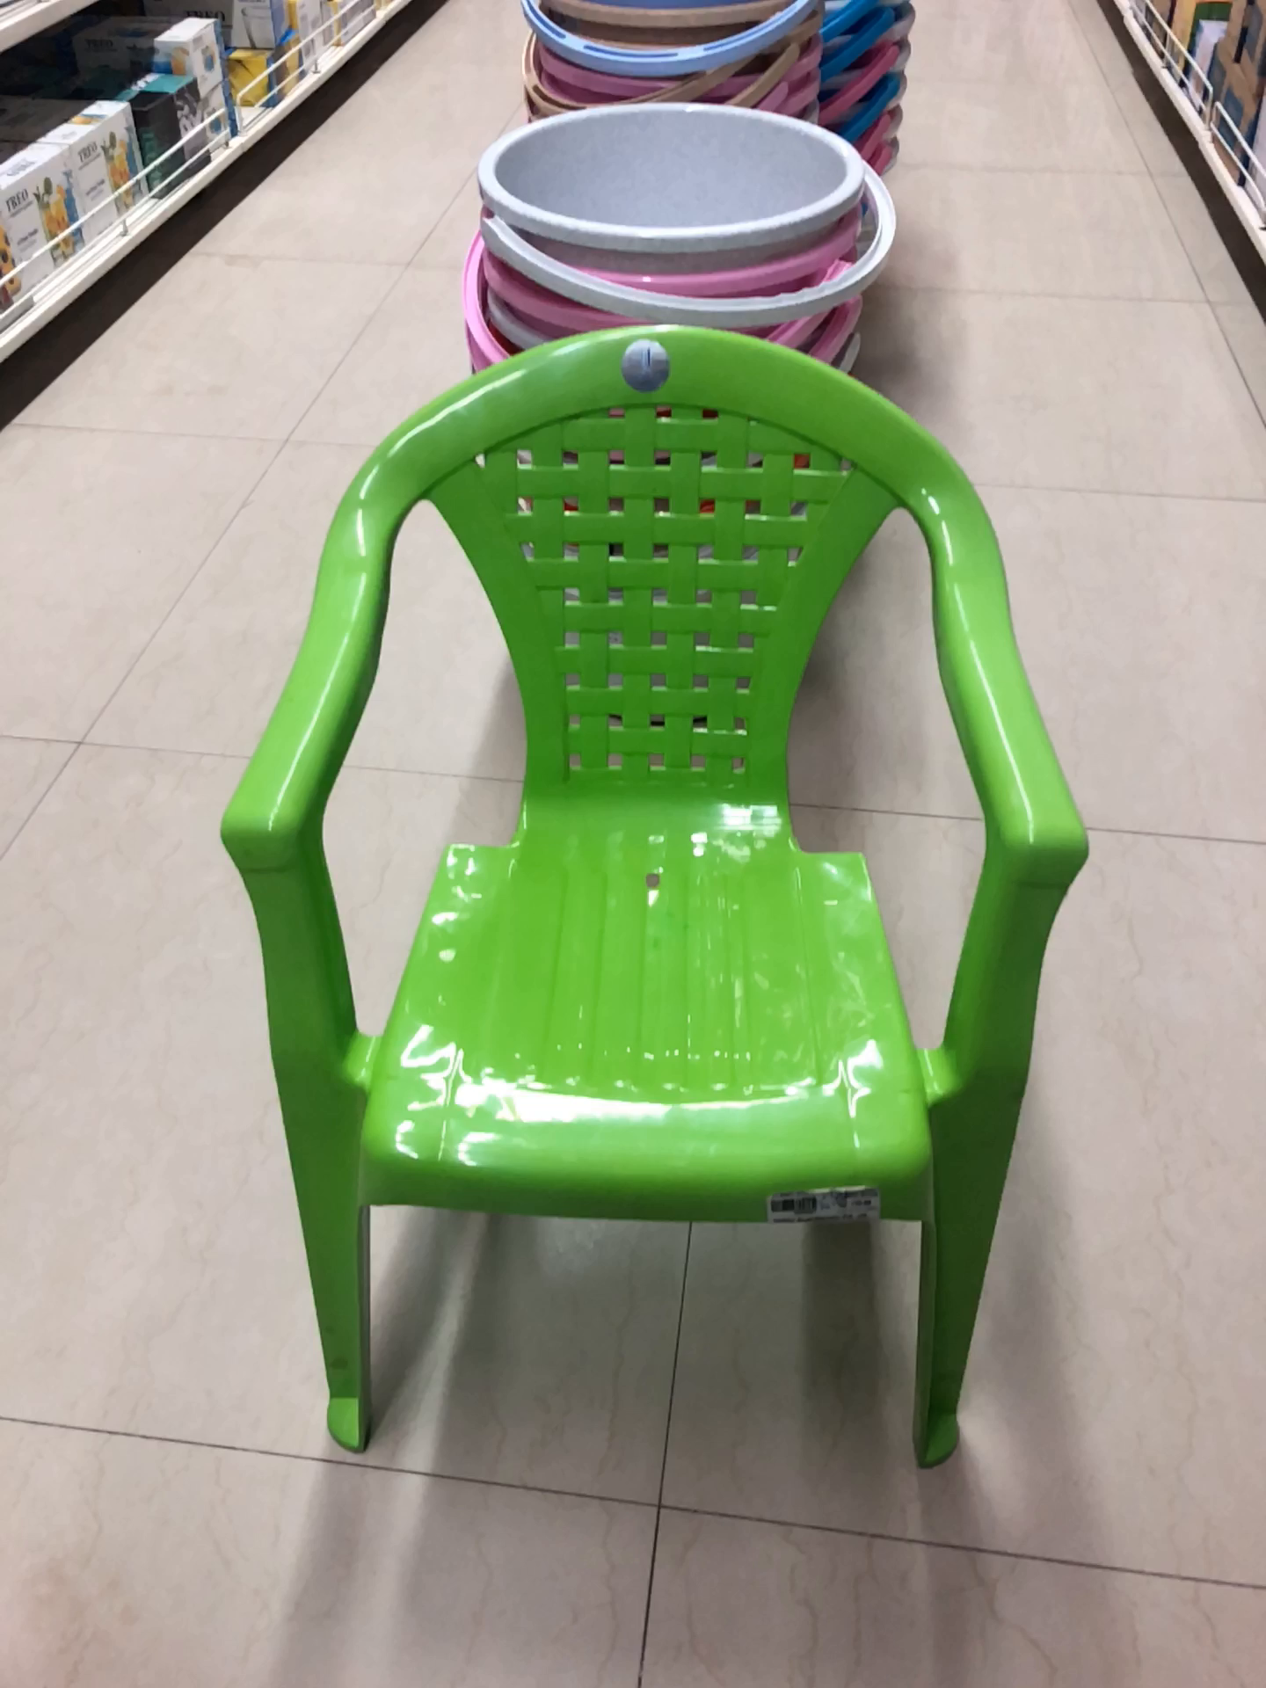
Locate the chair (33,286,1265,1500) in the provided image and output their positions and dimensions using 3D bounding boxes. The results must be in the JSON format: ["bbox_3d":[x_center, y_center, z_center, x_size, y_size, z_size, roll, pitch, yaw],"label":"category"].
[{"bbox_3d":[0.013,0.046,0.686,0.360,0.516,0.312,2,42,2],"label":"chair"}]
